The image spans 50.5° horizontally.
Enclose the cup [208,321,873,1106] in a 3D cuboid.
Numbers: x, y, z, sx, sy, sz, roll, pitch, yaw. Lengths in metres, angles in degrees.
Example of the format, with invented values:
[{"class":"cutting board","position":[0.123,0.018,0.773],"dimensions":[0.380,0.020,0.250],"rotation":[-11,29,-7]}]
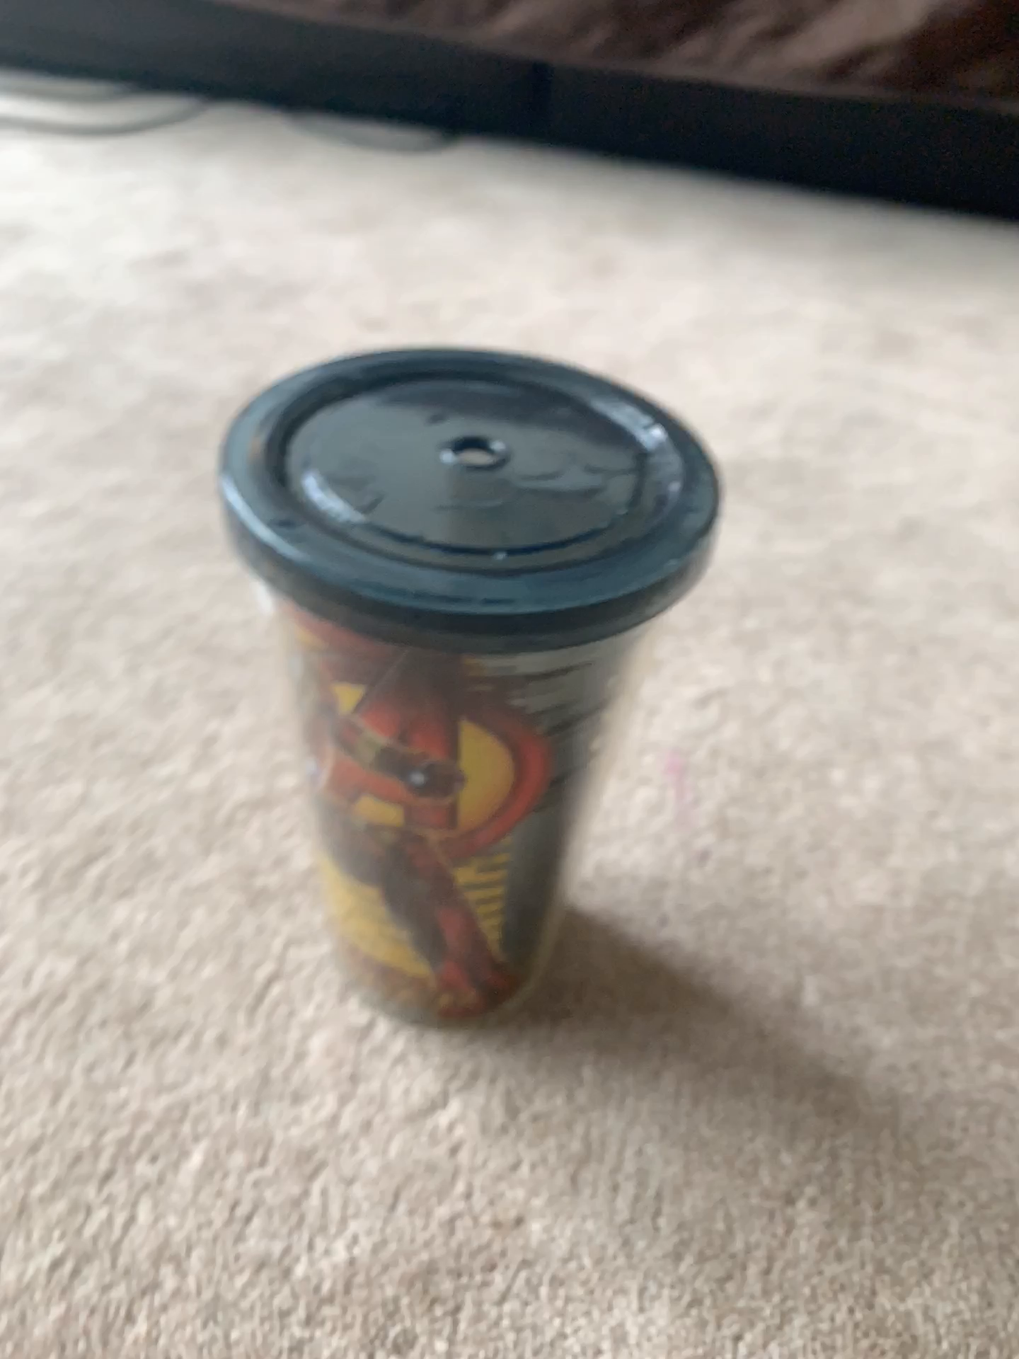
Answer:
[{"class":"cup","position":[0.000,0.010,0.244],"dimensions":[0.100,0.139,0.101],"rotation":[4,38,-3]}]
